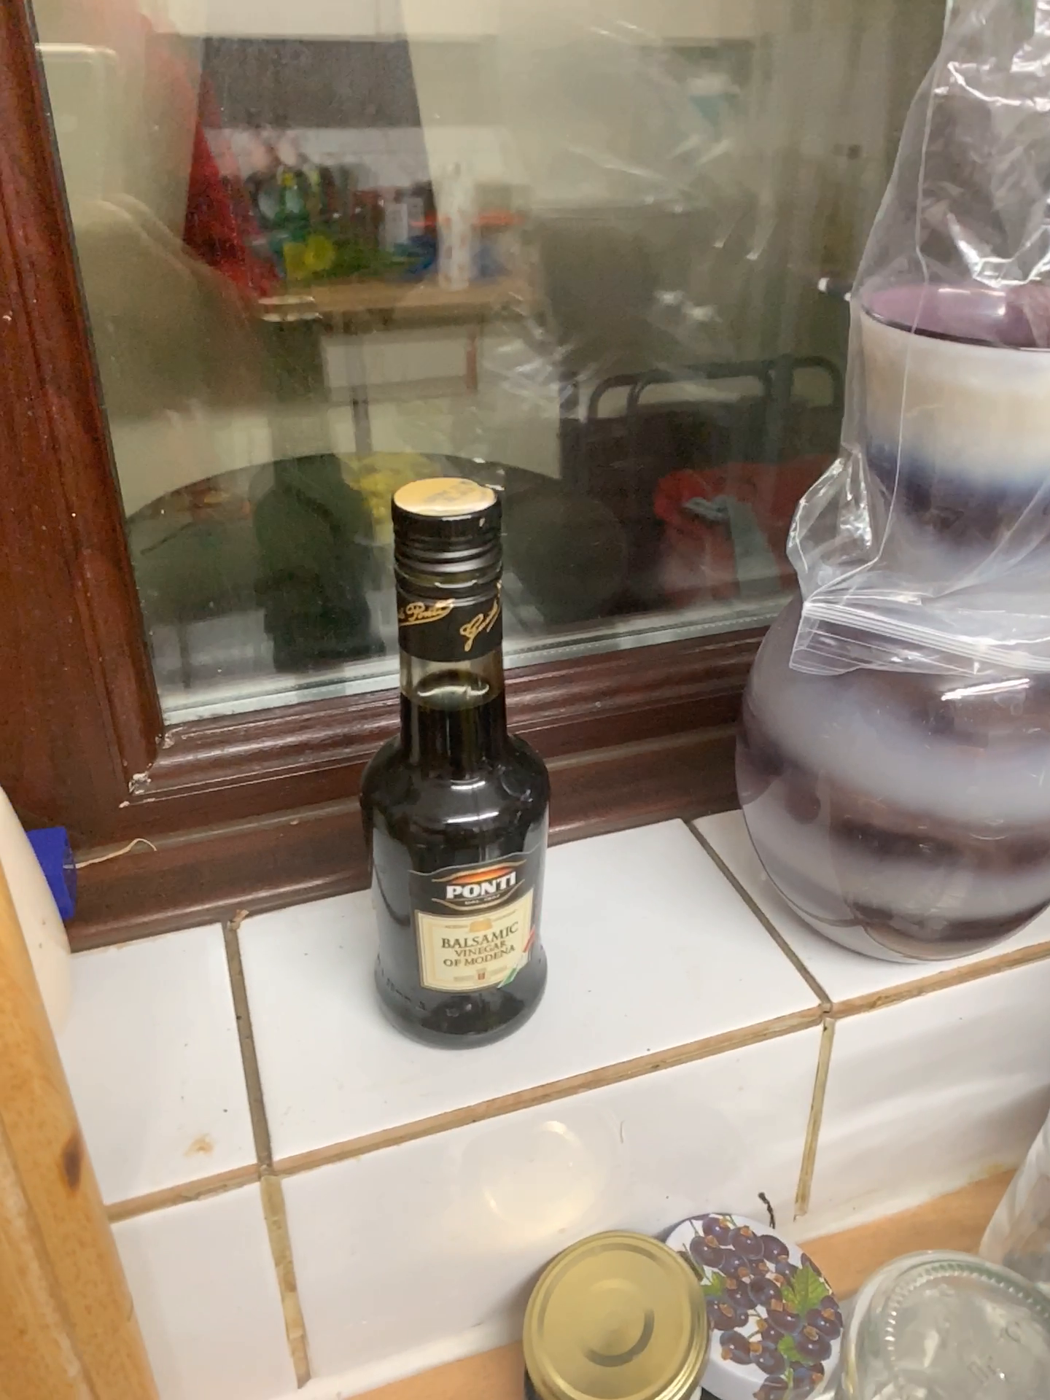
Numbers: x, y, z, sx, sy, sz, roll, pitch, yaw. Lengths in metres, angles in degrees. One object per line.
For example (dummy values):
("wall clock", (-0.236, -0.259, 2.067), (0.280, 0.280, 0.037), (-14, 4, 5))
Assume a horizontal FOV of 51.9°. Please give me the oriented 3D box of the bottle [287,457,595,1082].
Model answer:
("bottle", (-0.026, 0.024, 0.345), (0.070, 0.178, 0.071), (0, 29, 0))
